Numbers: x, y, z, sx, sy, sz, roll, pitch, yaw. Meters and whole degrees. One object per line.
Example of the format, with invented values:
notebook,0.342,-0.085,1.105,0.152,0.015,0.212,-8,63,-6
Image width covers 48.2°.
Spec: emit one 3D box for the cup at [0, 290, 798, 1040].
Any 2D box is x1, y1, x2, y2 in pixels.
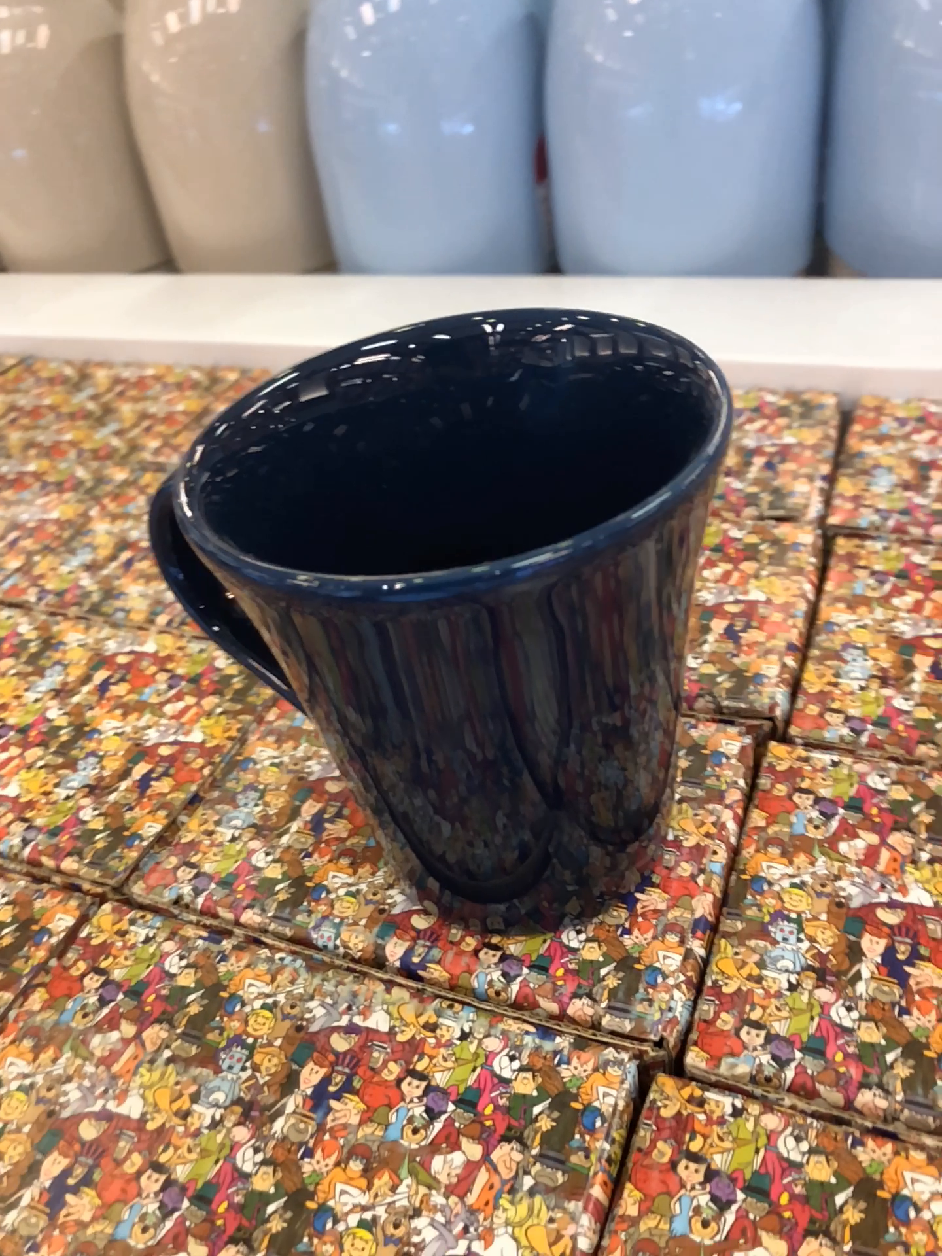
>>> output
cup,-0.006,-0.004,0.208,0.120,0.089,0.101,7,40,21
